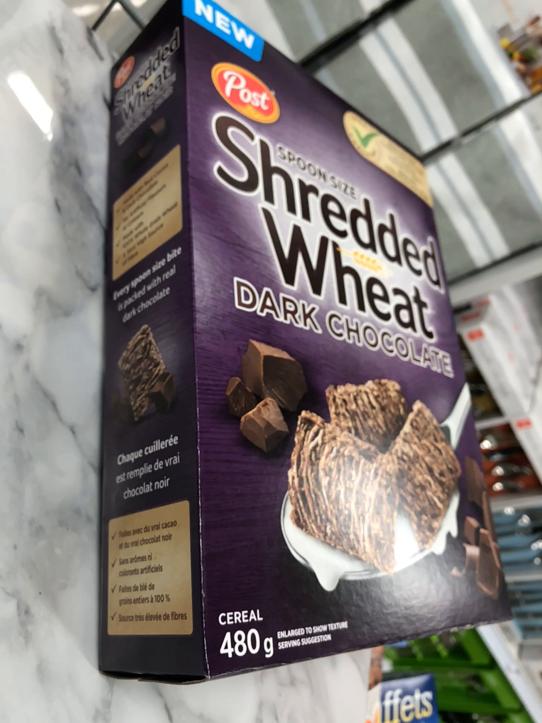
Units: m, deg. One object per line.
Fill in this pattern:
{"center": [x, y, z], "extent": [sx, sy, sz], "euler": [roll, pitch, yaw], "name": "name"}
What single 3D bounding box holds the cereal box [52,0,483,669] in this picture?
{"center": [0.006, -0.023, 0.307], "extent": [0.191, 0.070, 0.290], "euler": [16, 62, -45], "name": "cereal box"}
